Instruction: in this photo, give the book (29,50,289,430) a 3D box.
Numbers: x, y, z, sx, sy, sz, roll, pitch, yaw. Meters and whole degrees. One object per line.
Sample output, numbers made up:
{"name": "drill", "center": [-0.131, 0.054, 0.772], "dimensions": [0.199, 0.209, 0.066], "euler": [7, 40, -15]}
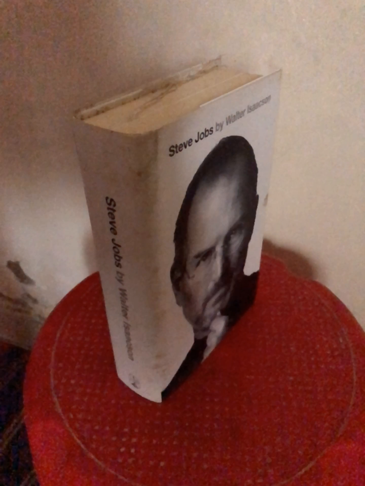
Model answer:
{"name": "book", "center": [0.002, -0.004, 0.309], "dimensions": [0.060, 0.229, 0.171], "euler": [23, 42, 30]}
